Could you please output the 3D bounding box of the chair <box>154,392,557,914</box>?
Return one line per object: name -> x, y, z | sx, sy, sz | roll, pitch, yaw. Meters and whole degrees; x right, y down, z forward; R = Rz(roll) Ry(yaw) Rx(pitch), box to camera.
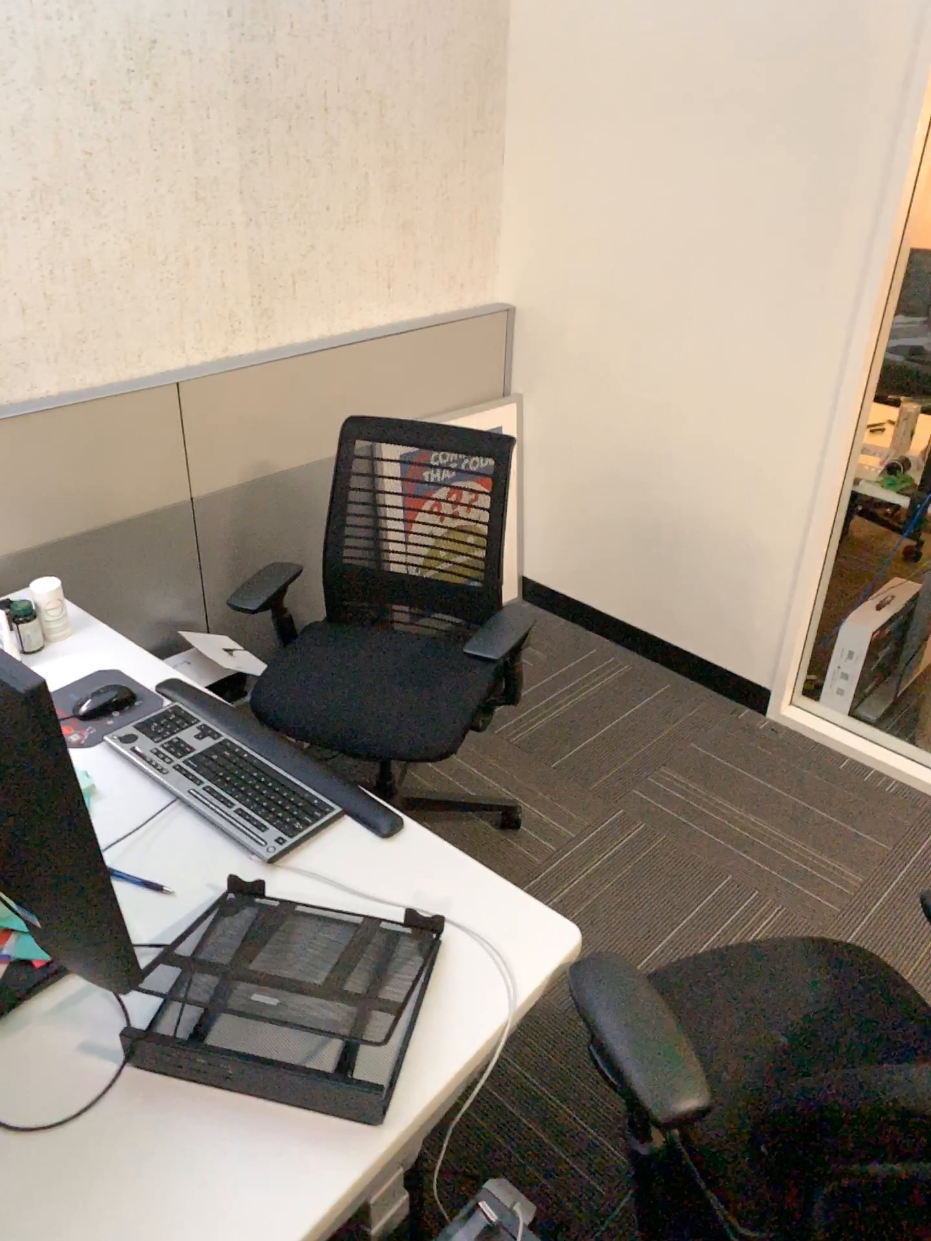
chair -> -0.210, 0.049, 2.289 | 0.671, 0.954, 0.653 | 10, 31, 14
